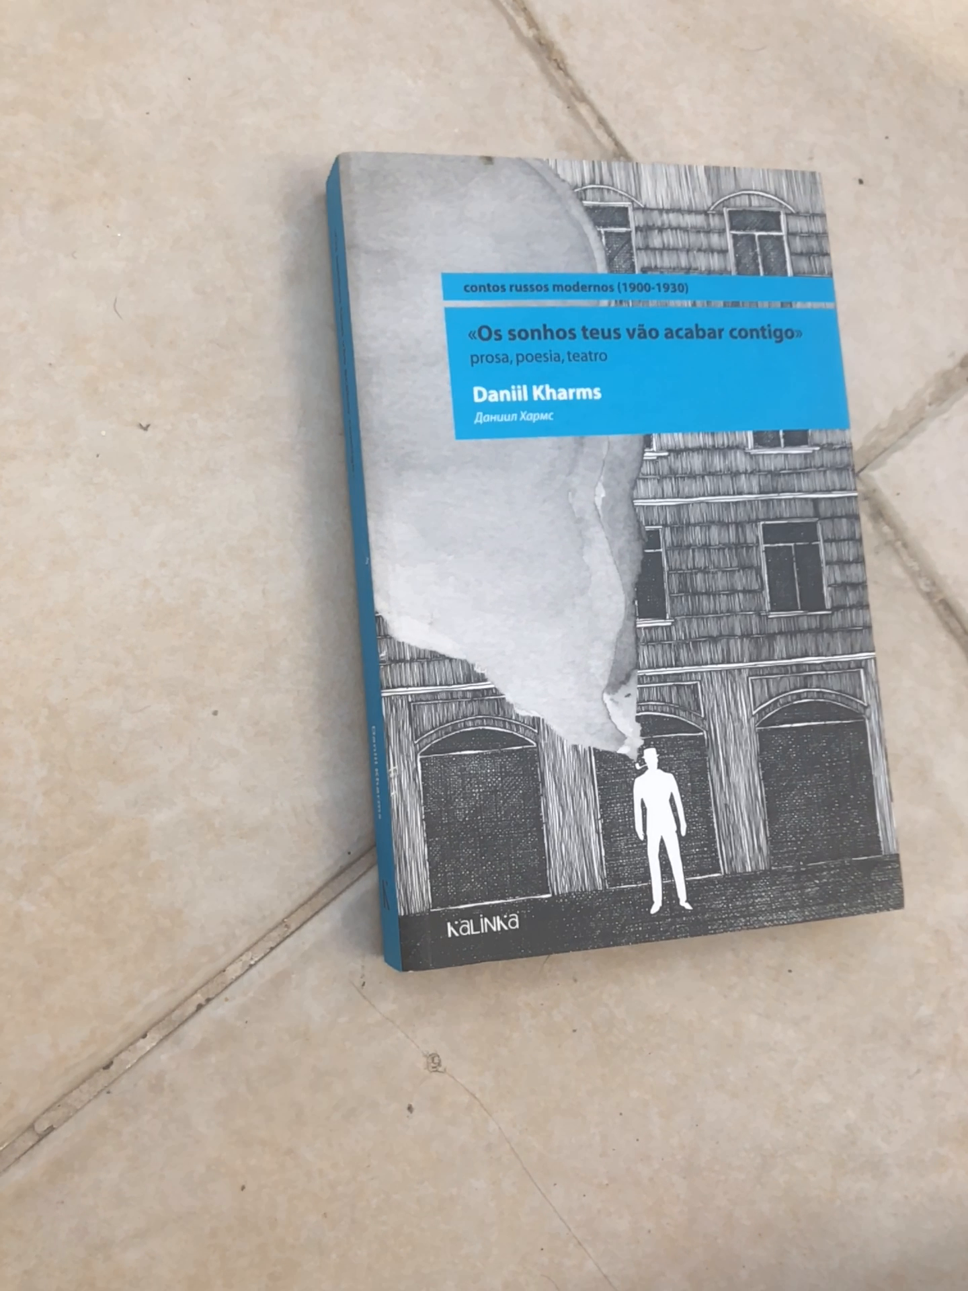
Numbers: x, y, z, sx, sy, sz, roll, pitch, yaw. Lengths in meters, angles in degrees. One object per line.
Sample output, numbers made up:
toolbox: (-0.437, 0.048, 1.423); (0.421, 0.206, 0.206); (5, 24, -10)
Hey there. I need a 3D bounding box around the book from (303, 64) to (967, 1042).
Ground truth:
book: (0.031, -0.021, 0.218); (0.120, 0.040, 0.170); (-4, 85, -14)
